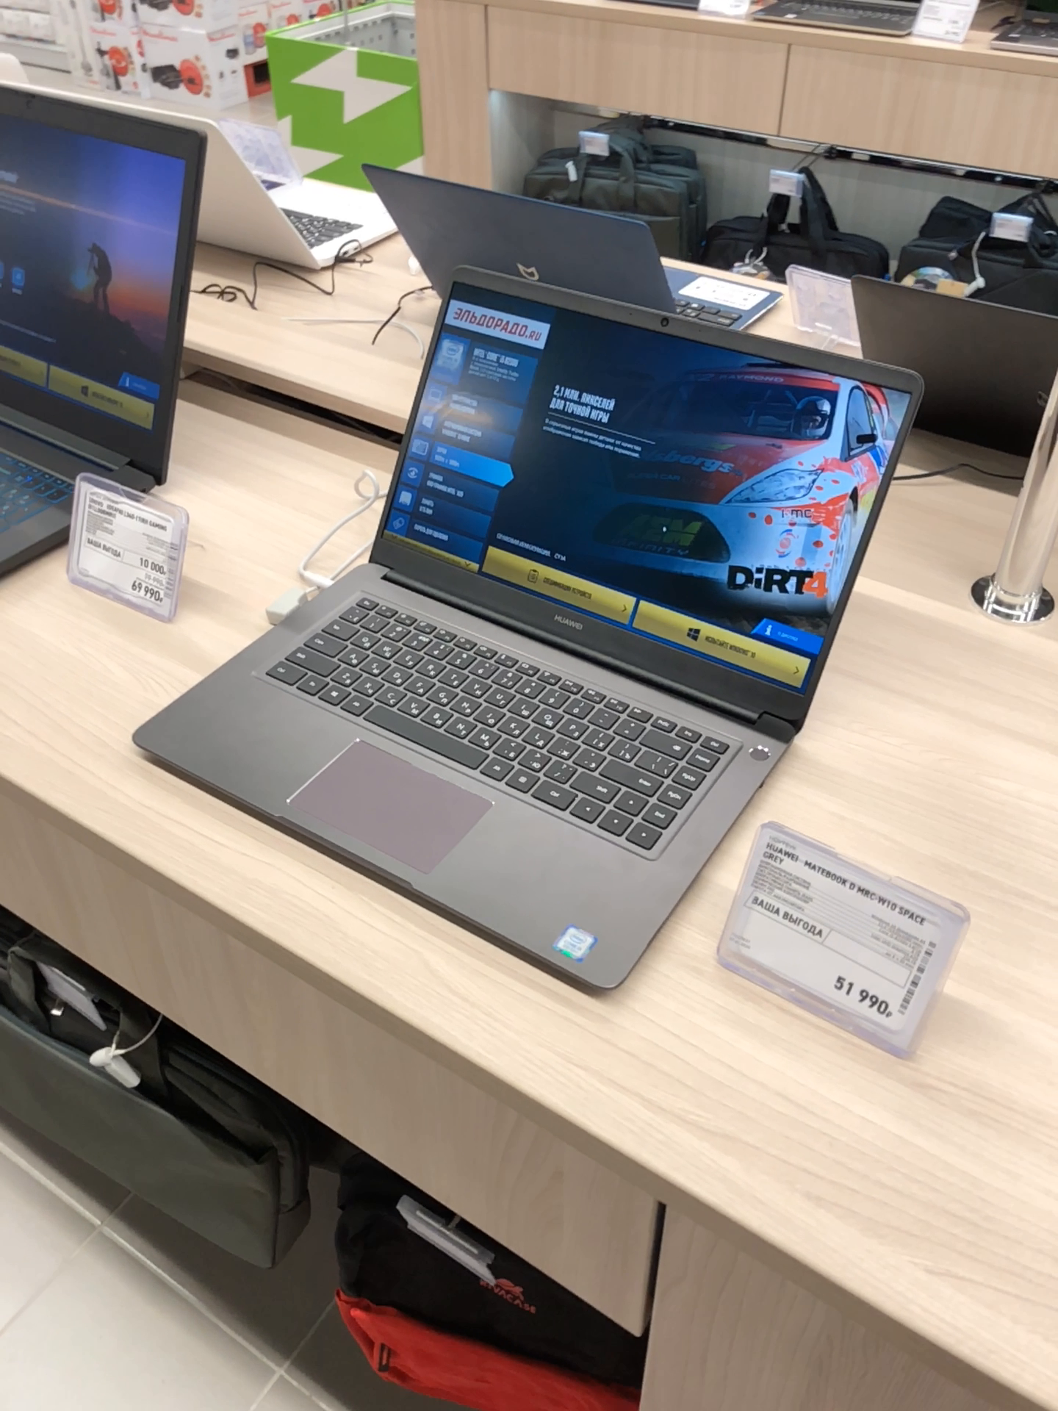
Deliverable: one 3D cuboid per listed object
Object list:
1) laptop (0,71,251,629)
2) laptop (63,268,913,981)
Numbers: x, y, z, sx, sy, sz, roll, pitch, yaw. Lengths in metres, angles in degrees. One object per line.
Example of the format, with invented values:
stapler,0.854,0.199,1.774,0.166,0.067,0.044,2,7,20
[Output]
laptop,-0.524,-0.316,0.932,0.392,0.242,0.379,25,46,27
laptop,-0.008,-0.090,0.717,0.344,0.180,0.359,22,46,25
